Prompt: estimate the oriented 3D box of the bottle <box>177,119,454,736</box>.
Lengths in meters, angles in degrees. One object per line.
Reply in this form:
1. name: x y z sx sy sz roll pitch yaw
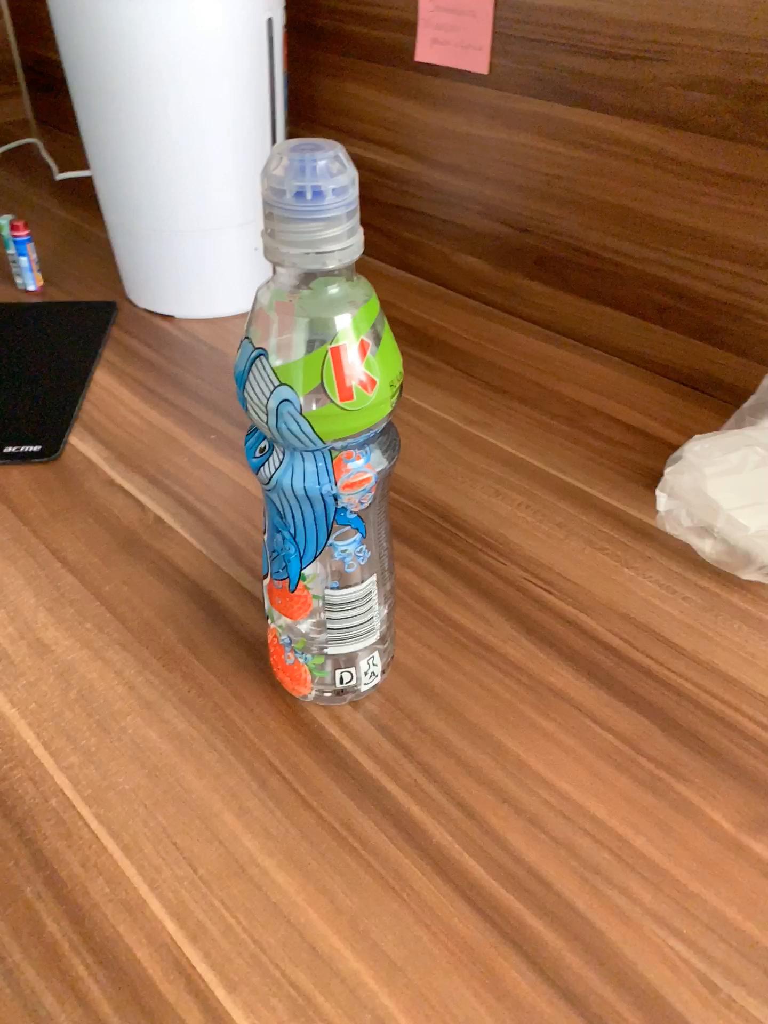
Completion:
1. bottle: -0.026 -0.018 0.321 0.070 0.239 0.070 1 39 0
